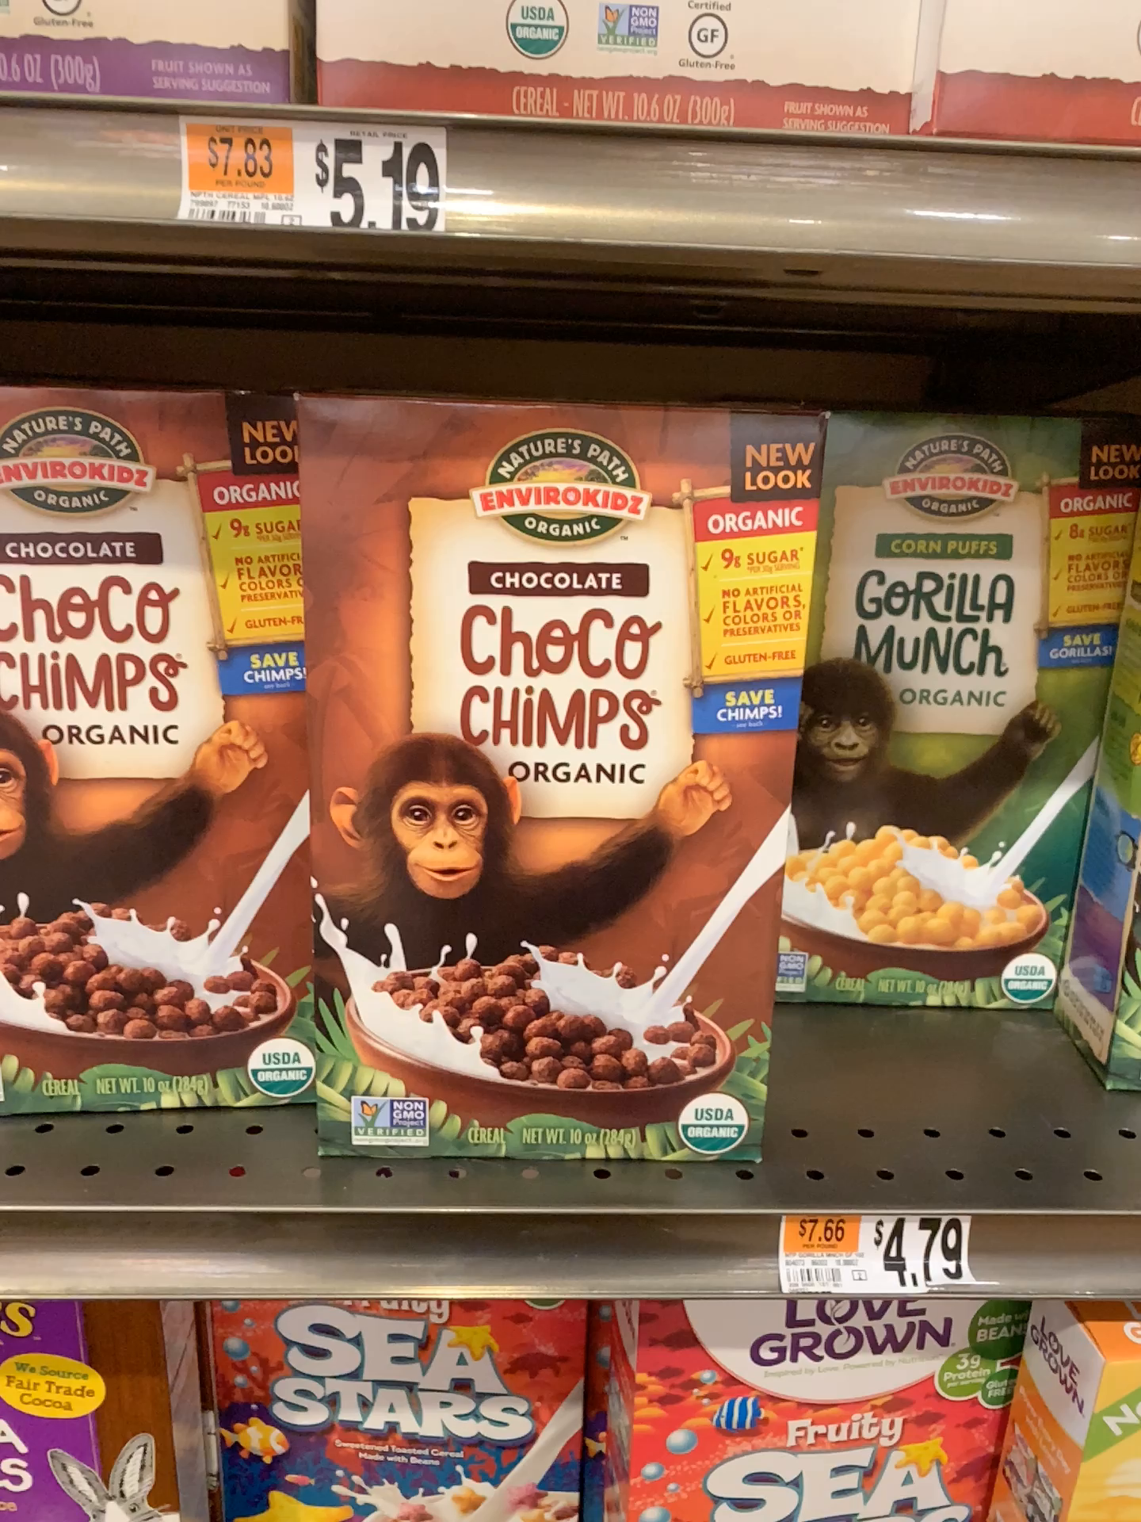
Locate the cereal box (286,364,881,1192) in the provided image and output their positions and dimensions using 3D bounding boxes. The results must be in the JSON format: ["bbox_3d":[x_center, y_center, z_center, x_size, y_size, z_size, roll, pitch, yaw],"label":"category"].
[{"bbox_3d":[-0.002,0.011,0.400,0.170,0.269,0.060,2,16,-3],"label":"cereal box"}]
